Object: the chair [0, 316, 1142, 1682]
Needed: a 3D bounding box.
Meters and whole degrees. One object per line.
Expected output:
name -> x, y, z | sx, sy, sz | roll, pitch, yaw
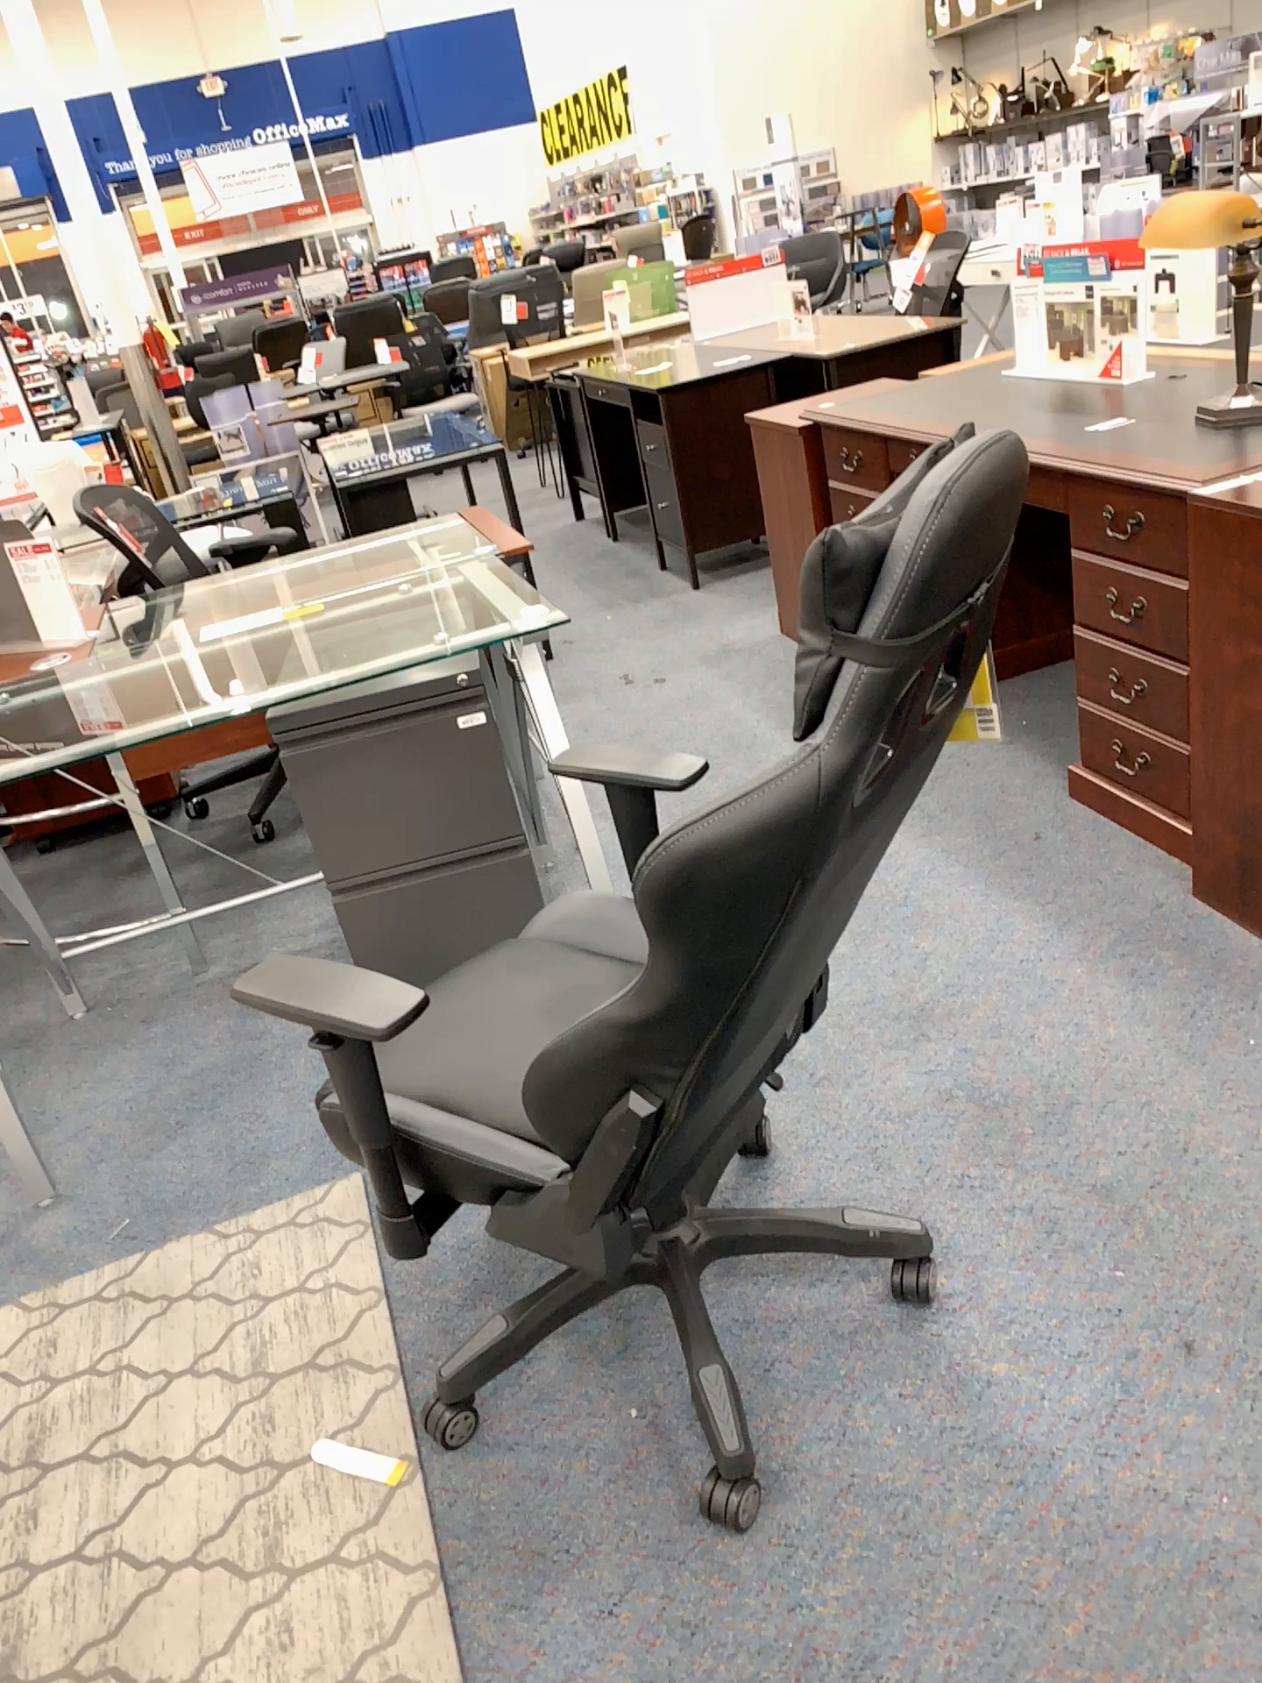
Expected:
chair -> -0.010, 0.107, 1.433 | 0.913, 1.062, 0.787 | 5, 30, 33
